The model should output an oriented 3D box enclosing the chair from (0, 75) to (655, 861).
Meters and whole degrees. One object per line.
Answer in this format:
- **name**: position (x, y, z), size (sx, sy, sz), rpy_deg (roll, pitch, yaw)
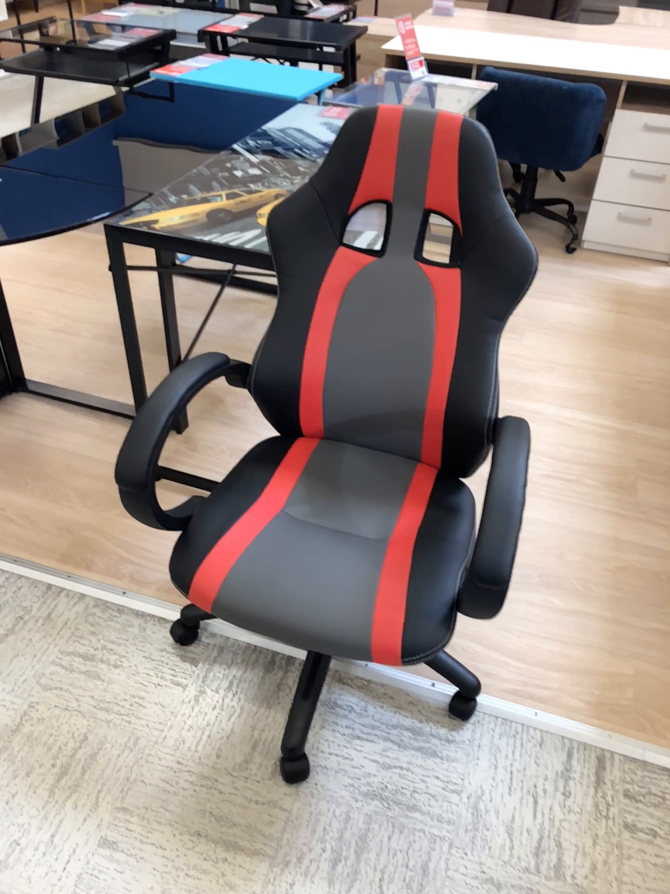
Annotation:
- **chair**: position (0.025, -0.001, 1.205), size (0.689, 0.924, 0.695), rpy_deg (14, 39, 14)
